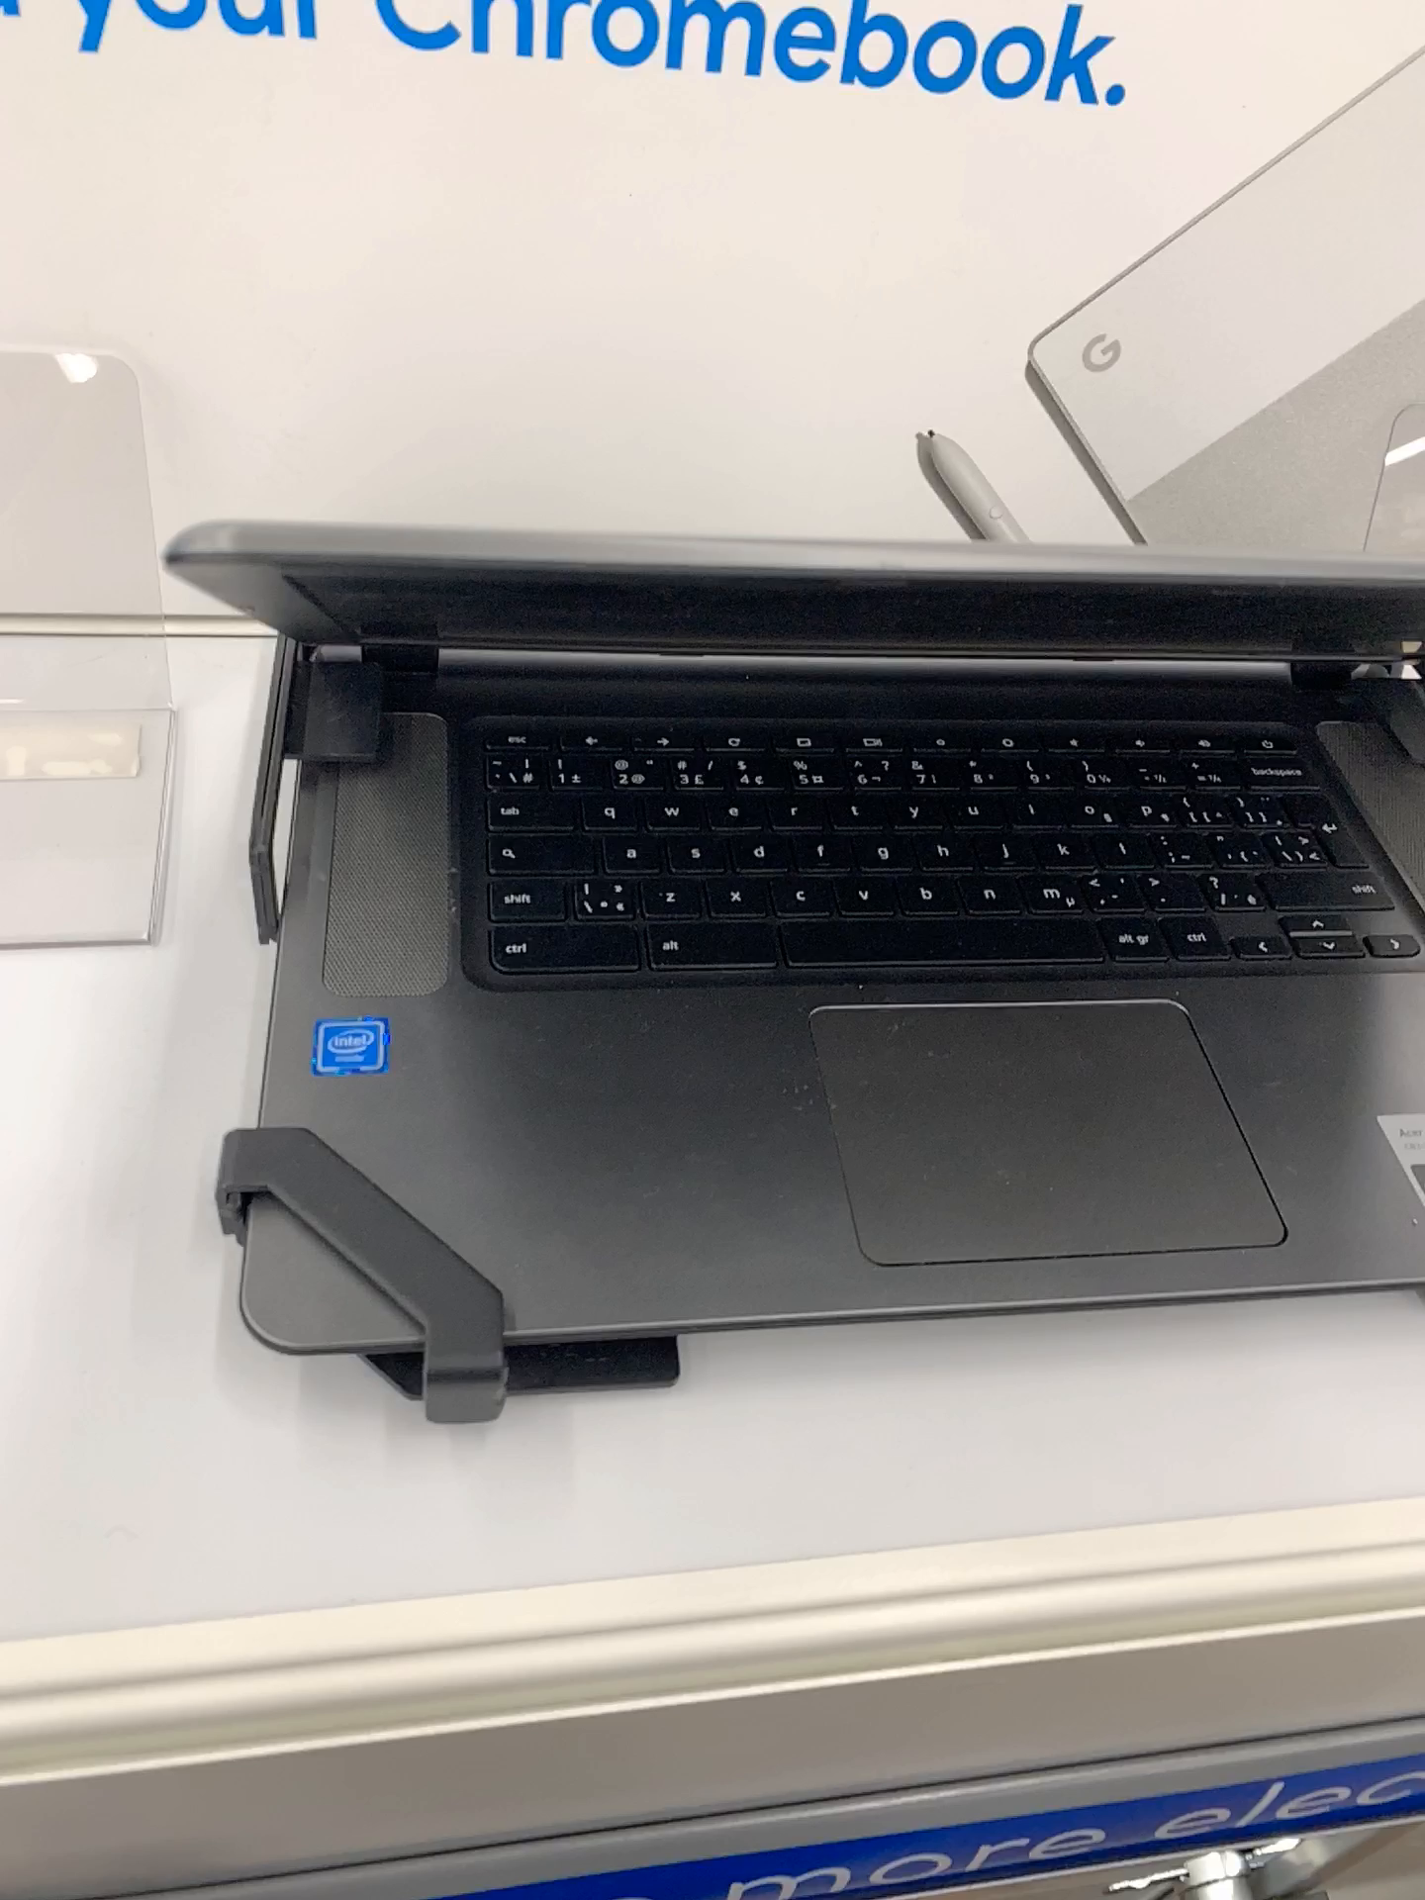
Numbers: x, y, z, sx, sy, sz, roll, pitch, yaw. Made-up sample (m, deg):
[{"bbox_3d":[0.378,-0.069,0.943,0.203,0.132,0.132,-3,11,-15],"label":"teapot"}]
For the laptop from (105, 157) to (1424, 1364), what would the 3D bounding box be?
[{"bbox_3d":[0.068,-0.047,0.288,0.303,0.119,0.198,-1,46,-9],"label":"laptop"}]
